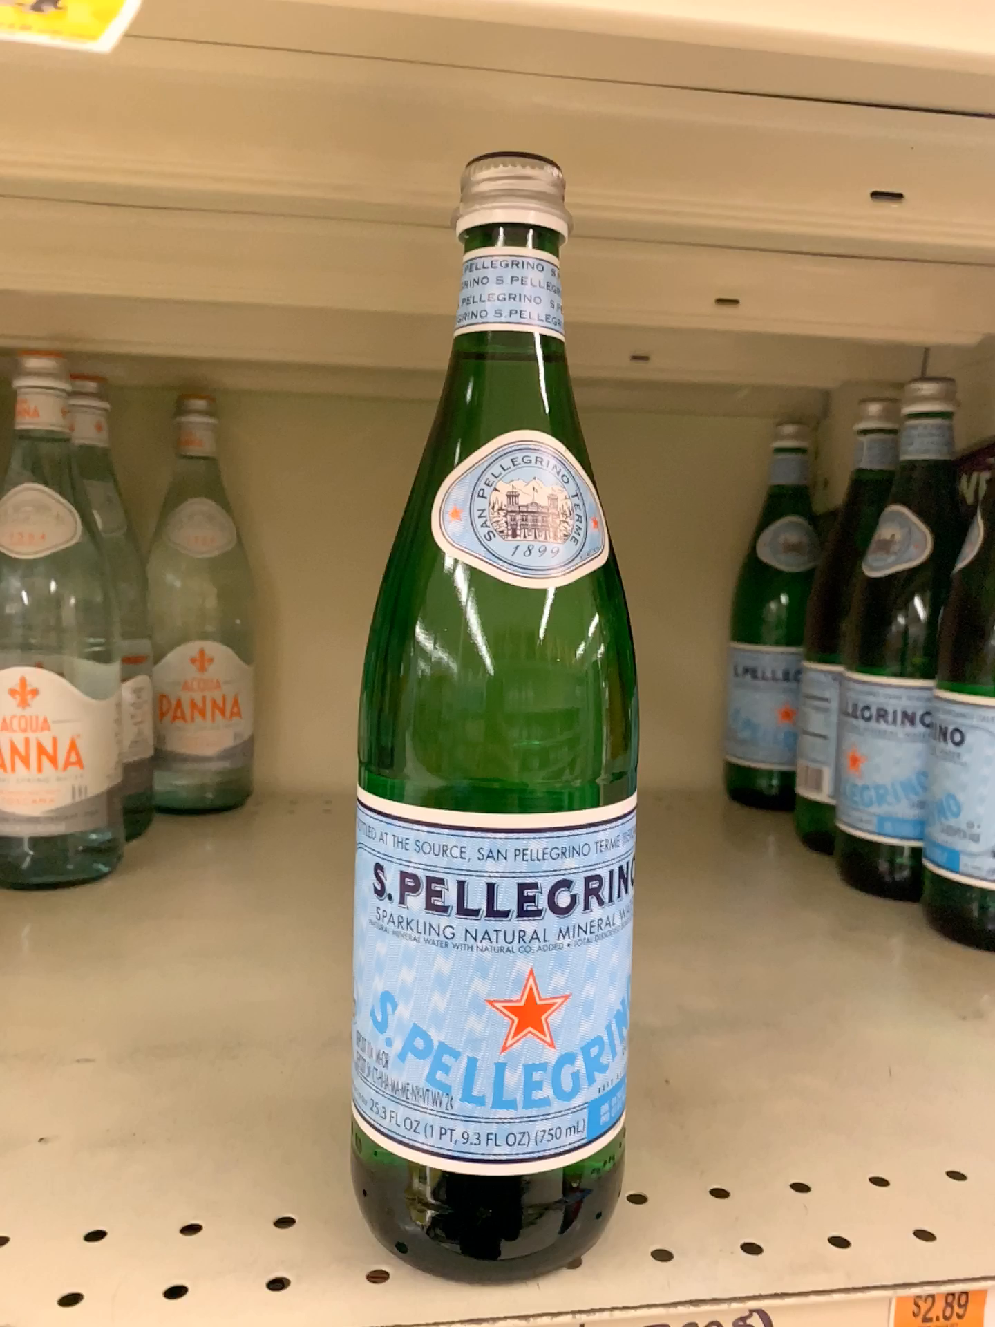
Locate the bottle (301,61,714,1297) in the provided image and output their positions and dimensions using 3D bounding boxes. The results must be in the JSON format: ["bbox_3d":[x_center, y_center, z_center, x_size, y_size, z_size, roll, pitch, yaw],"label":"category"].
[{"bbox_3d":[-0.005,0.008,0.289,0.090,0.289,0.090,2,7,0],"label":"bottle"}]
